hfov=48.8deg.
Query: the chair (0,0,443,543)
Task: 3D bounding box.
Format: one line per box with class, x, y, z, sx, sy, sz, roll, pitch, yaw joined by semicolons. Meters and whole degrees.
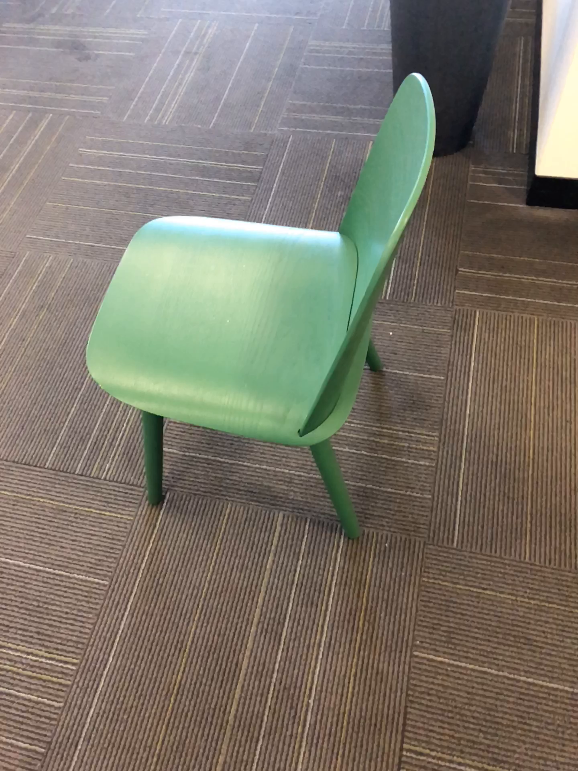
chair;-0.056;-0.147;1.063;0.500;0.778;0.501;6;57;9
